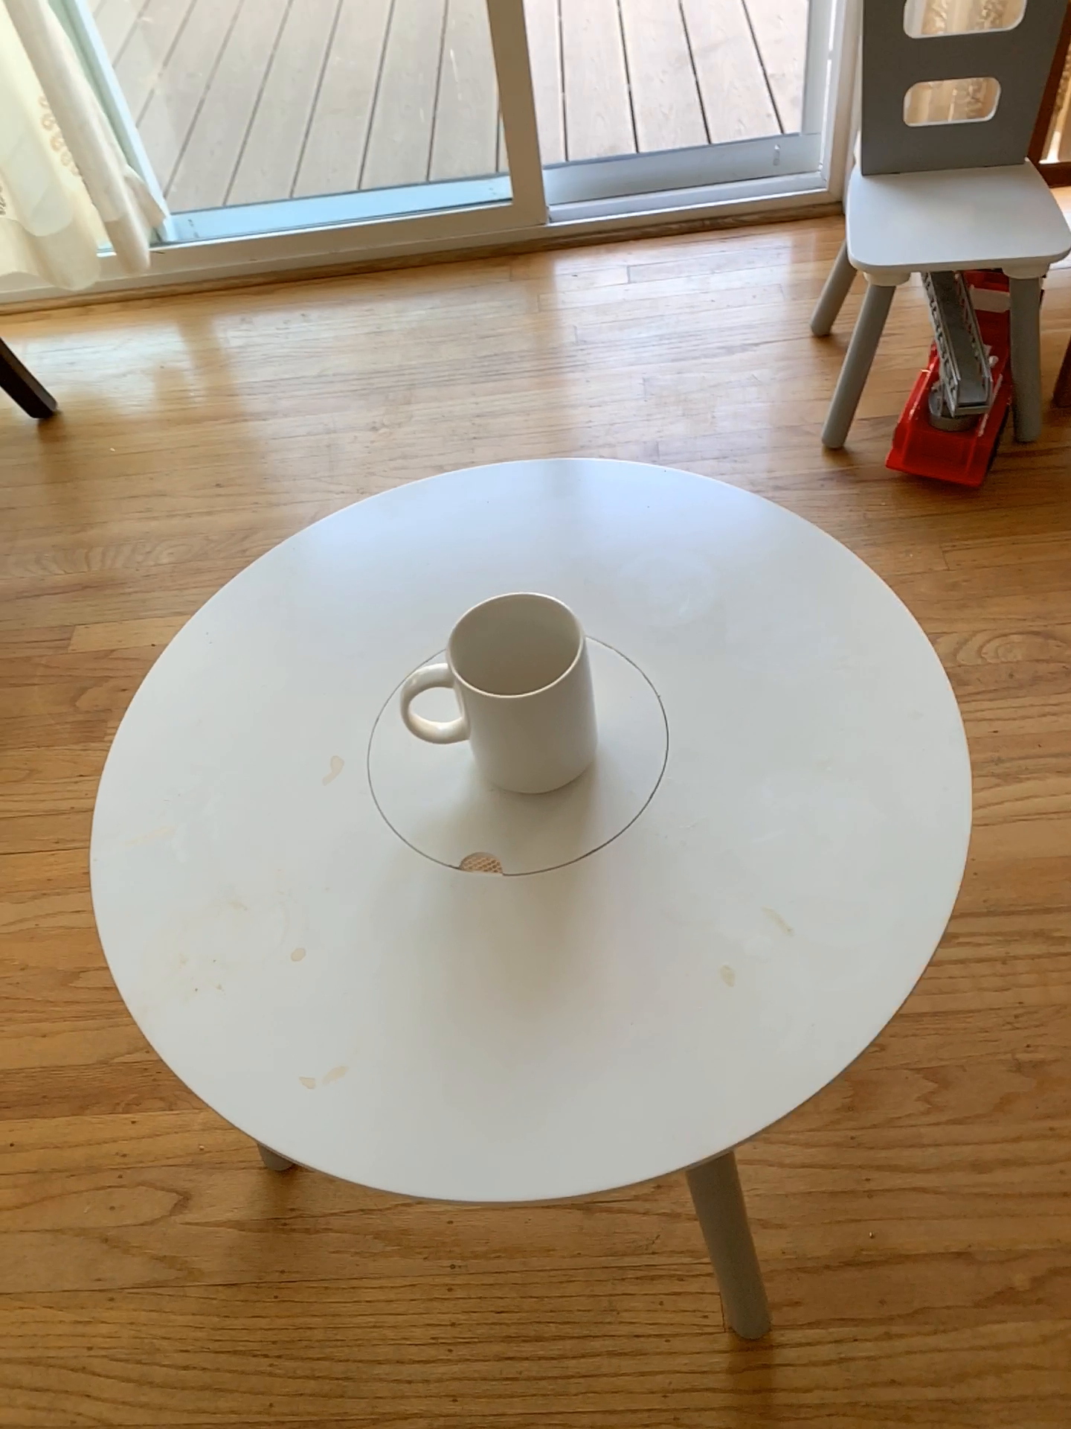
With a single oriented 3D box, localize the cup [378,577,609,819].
[{"bbox_3d":[-0.026,-0.010,0.705,0.130,0.090,0.110,-7,52,4],"label":"cup"}]
